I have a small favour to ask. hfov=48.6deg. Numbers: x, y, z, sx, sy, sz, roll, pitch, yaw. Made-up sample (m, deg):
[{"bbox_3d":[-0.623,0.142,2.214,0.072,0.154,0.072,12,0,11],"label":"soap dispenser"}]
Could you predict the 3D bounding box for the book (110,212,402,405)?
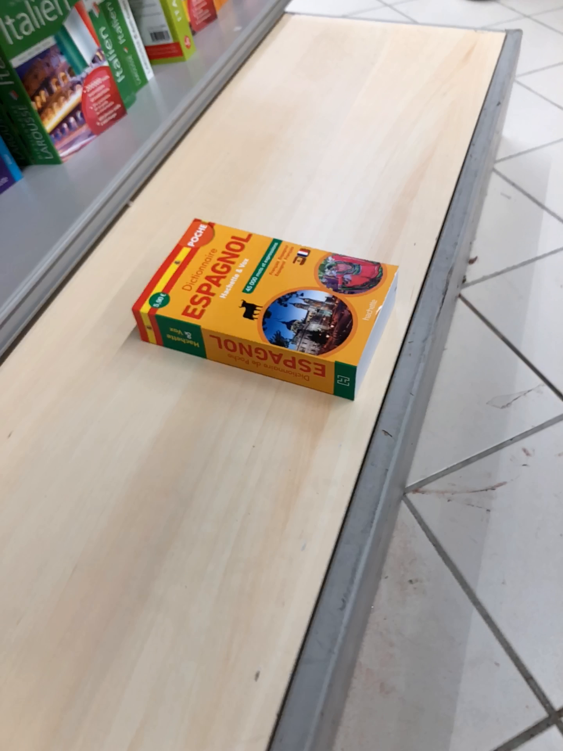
[{"bbox_3d":[-0.016,-0.059,0.485,0.190,0.040,0.117,15,53,16],"label":"book"}]
